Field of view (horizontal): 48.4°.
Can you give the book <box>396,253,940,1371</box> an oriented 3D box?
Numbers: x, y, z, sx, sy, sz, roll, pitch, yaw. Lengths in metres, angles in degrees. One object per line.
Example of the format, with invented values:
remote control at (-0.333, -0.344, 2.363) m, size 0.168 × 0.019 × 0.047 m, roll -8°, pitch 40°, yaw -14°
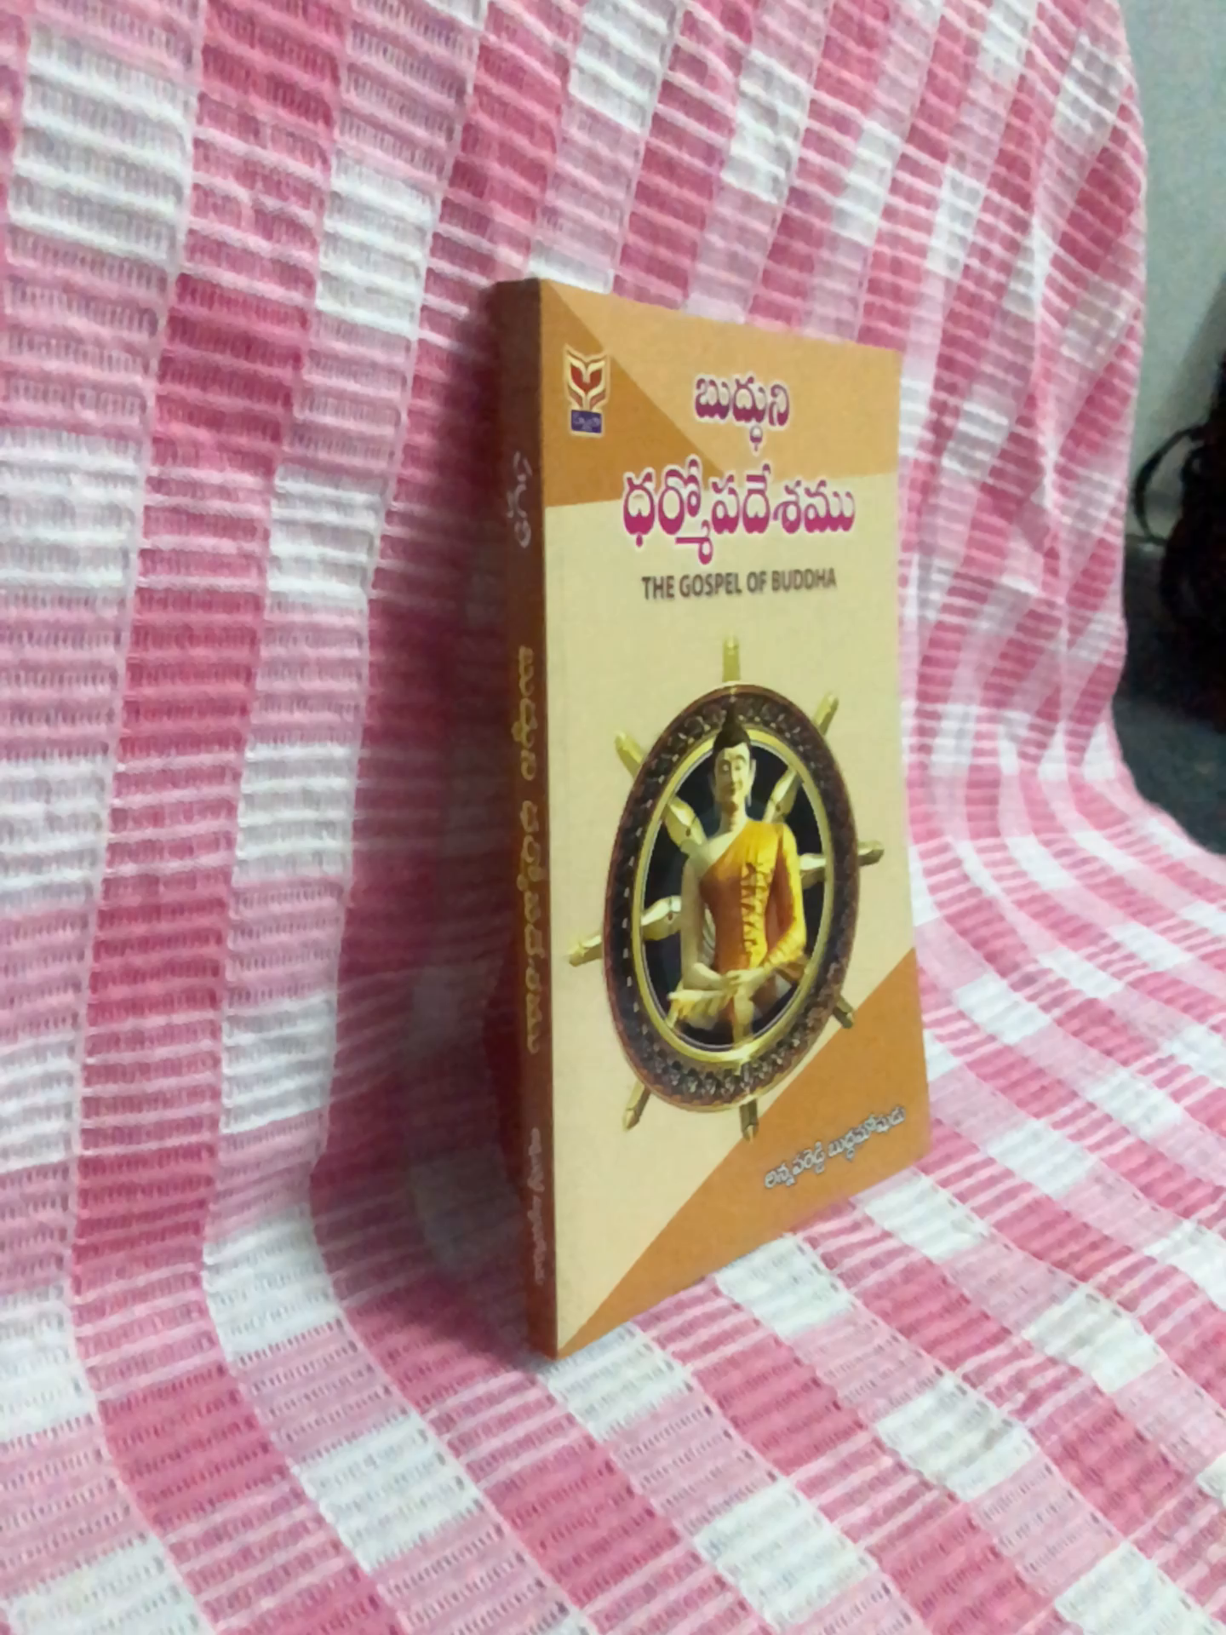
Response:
book at (0.023, -0.006, 0.308) m, size 0.141 × 0.210 × 0.020 m, roll -11°, pitch 11°, yaw -43°
